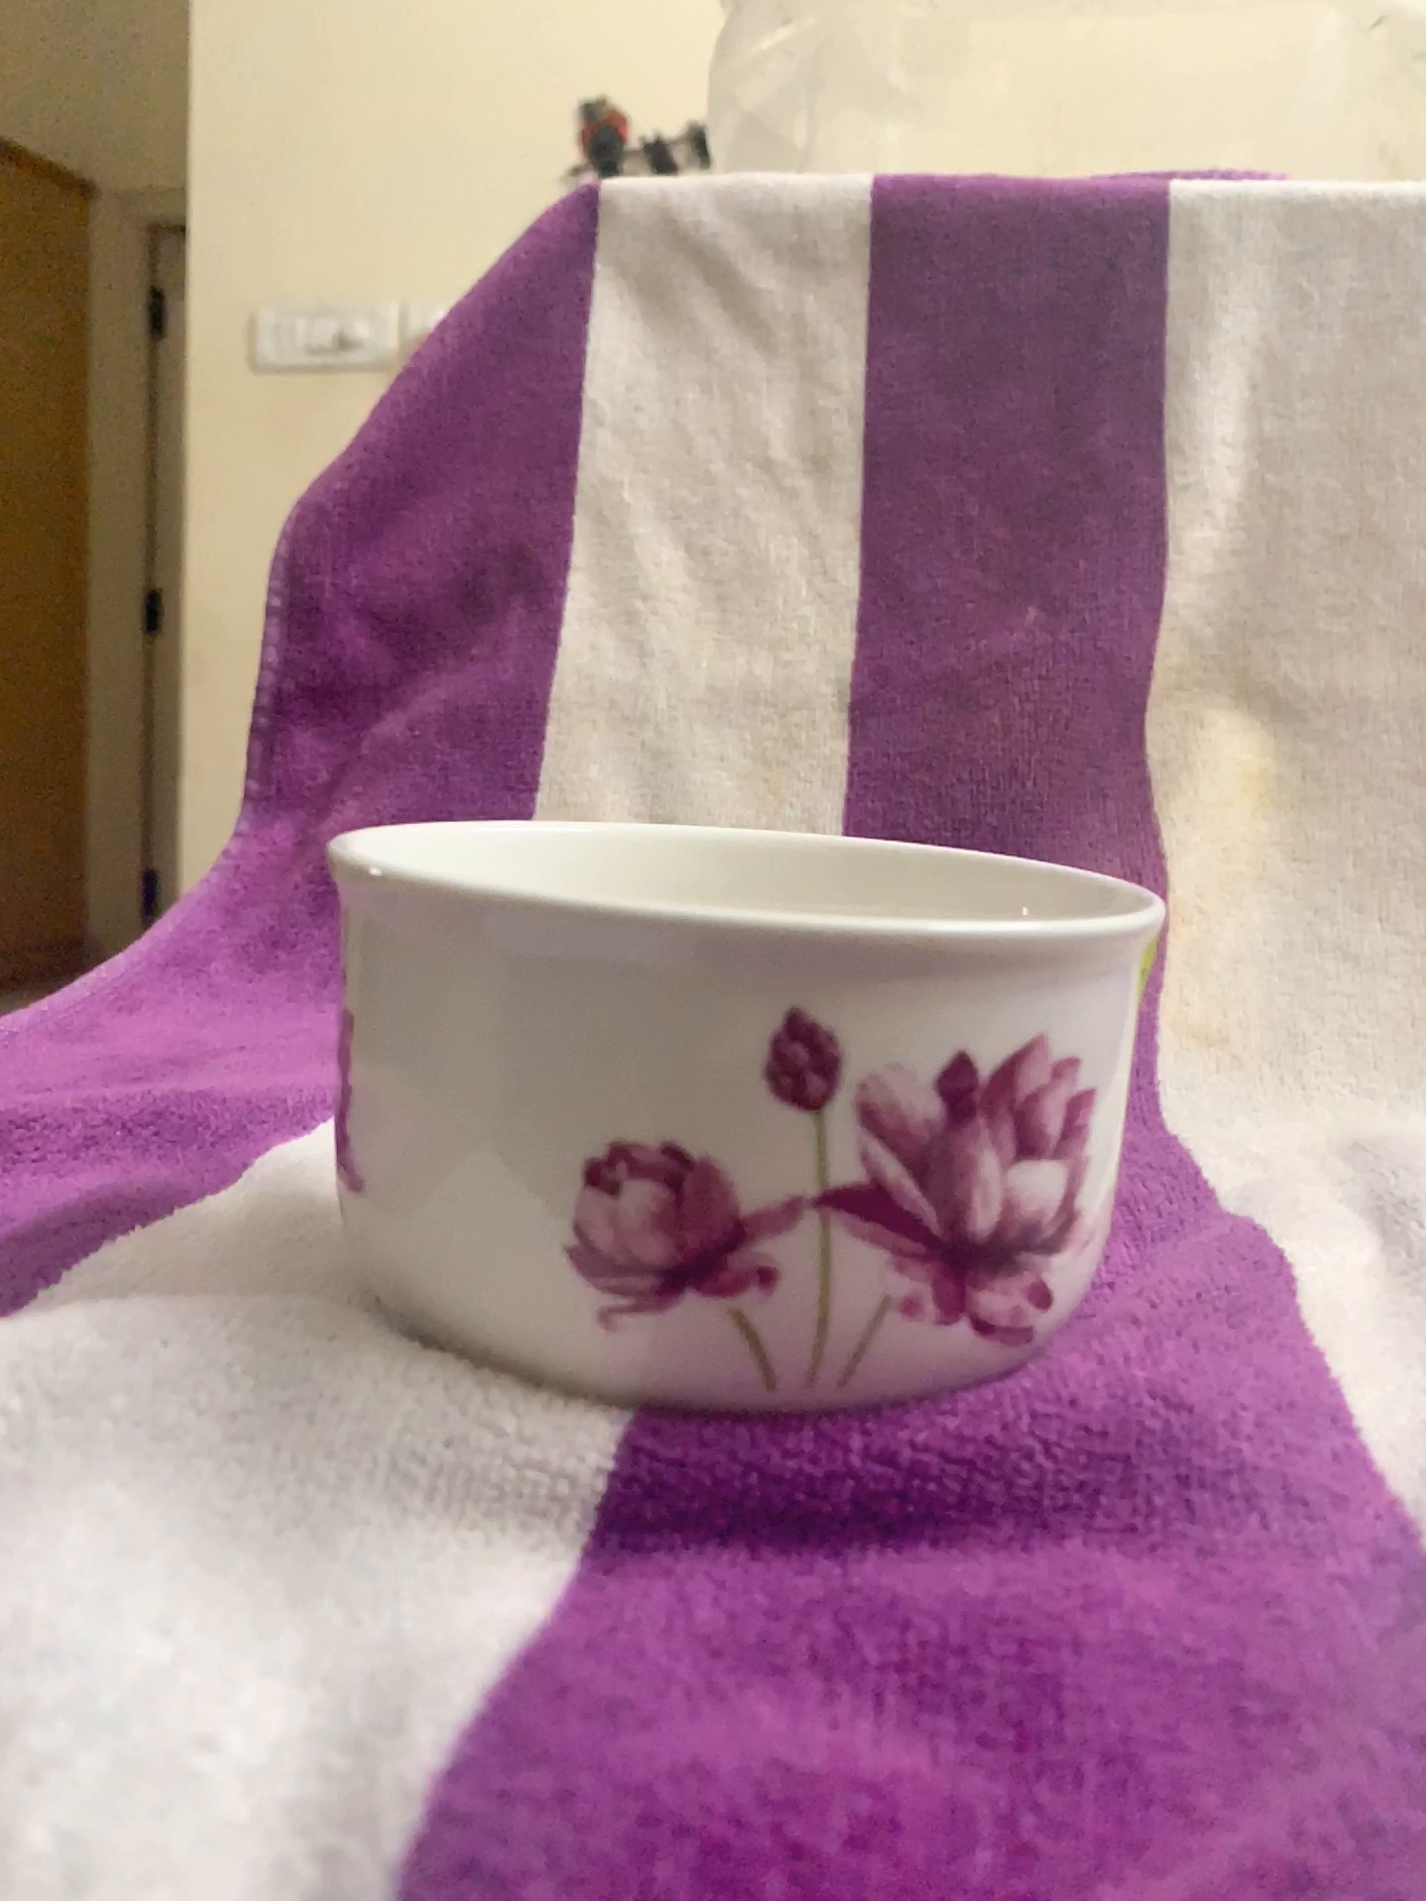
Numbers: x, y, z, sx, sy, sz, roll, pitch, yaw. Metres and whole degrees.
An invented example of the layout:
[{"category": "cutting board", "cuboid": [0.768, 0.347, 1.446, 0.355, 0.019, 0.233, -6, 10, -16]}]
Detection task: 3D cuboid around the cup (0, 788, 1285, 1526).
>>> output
[{"category": "cup", "cuboid": [-0.005, 0.012, 0.179, 0.110, 0.050, 0.100, 4, 9, -1]}]
